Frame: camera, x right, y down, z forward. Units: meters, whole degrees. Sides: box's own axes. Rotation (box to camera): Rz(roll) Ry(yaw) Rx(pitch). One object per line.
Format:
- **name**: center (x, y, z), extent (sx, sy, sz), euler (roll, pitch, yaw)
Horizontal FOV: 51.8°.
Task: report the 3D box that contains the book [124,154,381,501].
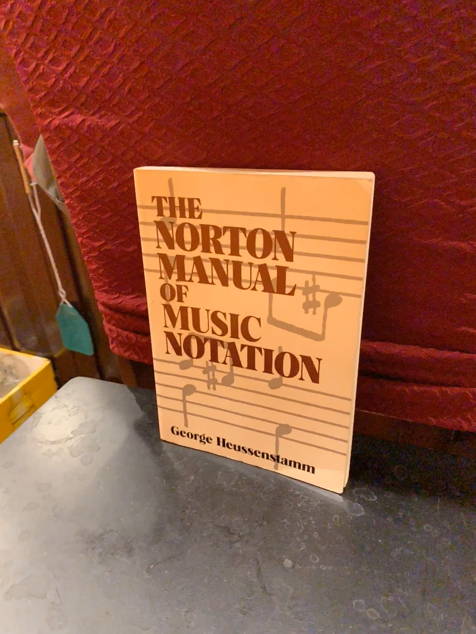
- **book**: center (0.006, 0.010, 0.390), extent (0.180, 0.259, 0.030), euler (9, 26, 23)
